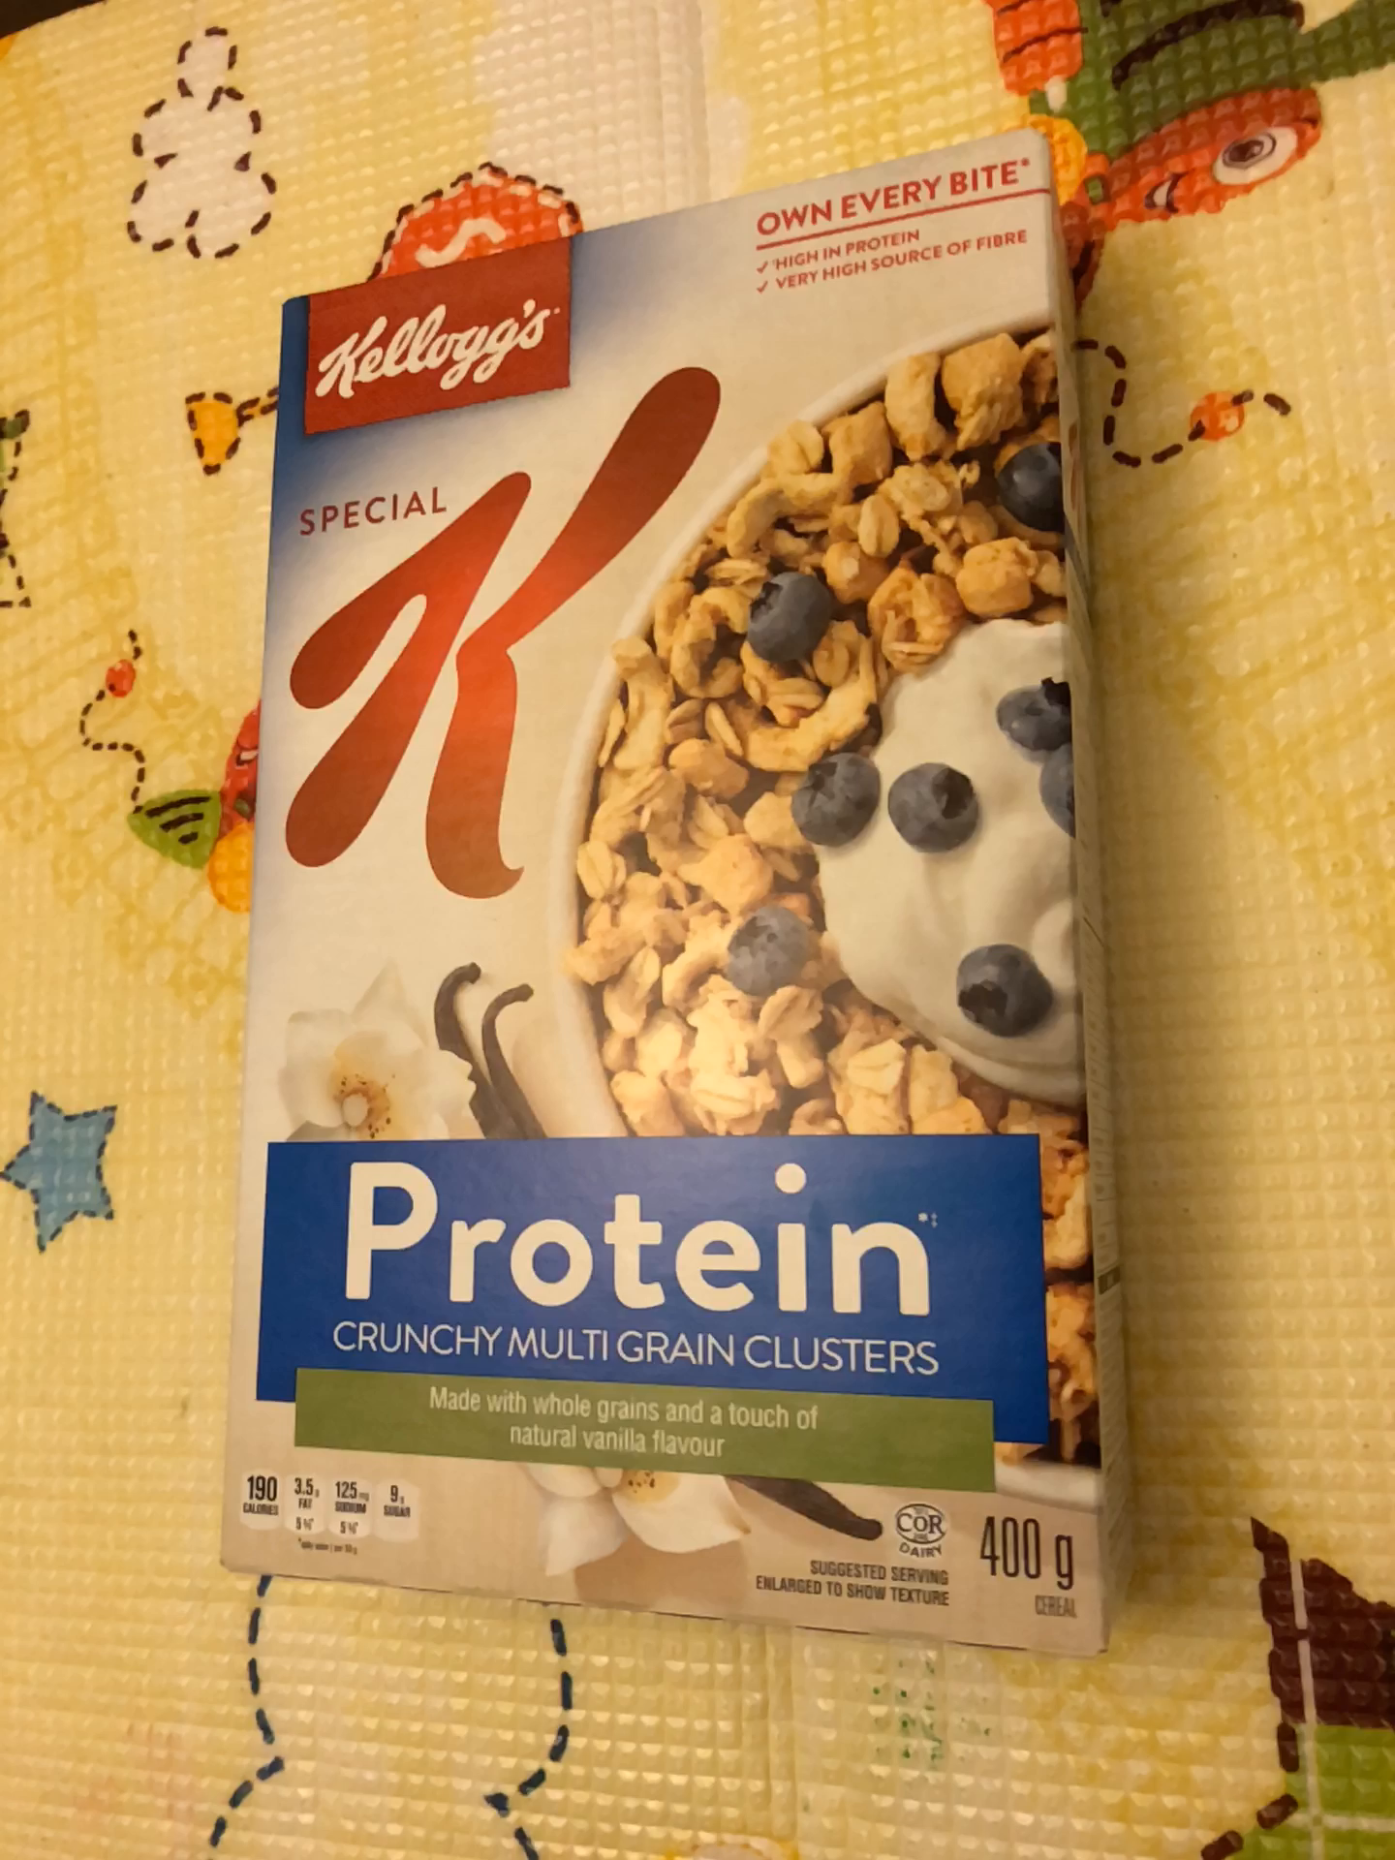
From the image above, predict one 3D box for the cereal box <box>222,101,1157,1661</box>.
[{"bbox_3d":[0.000,-0.009,0.297,0.160,0.060,0.250,-2,82,18],"label":"cereal box"}]
